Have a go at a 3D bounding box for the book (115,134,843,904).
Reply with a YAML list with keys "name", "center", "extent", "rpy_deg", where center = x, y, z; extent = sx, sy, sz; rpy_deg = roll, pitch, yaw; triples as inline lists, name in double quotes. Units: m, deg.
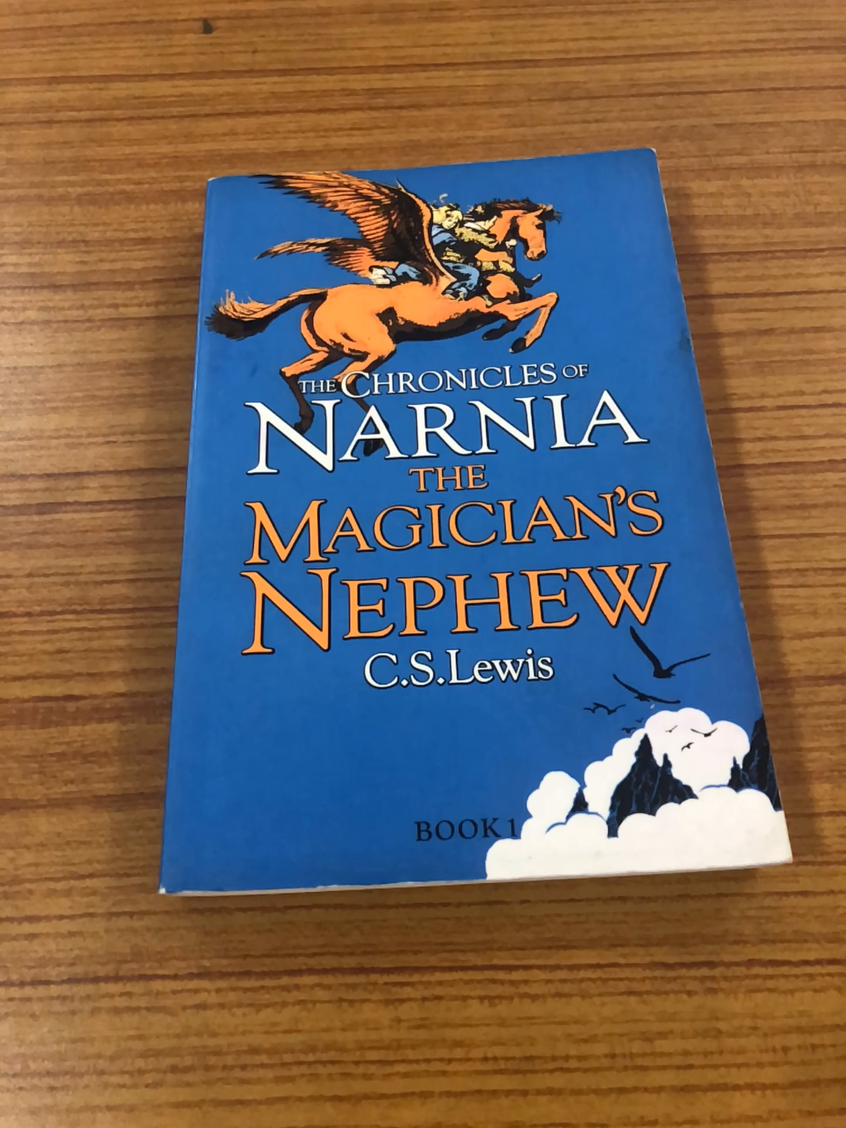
- name: "book"
  center: [0.007, -0.021, 0.235]
  extent: [0.140, 0.030, 0.190]
  rpy_deg: [-3, 66, 1]
